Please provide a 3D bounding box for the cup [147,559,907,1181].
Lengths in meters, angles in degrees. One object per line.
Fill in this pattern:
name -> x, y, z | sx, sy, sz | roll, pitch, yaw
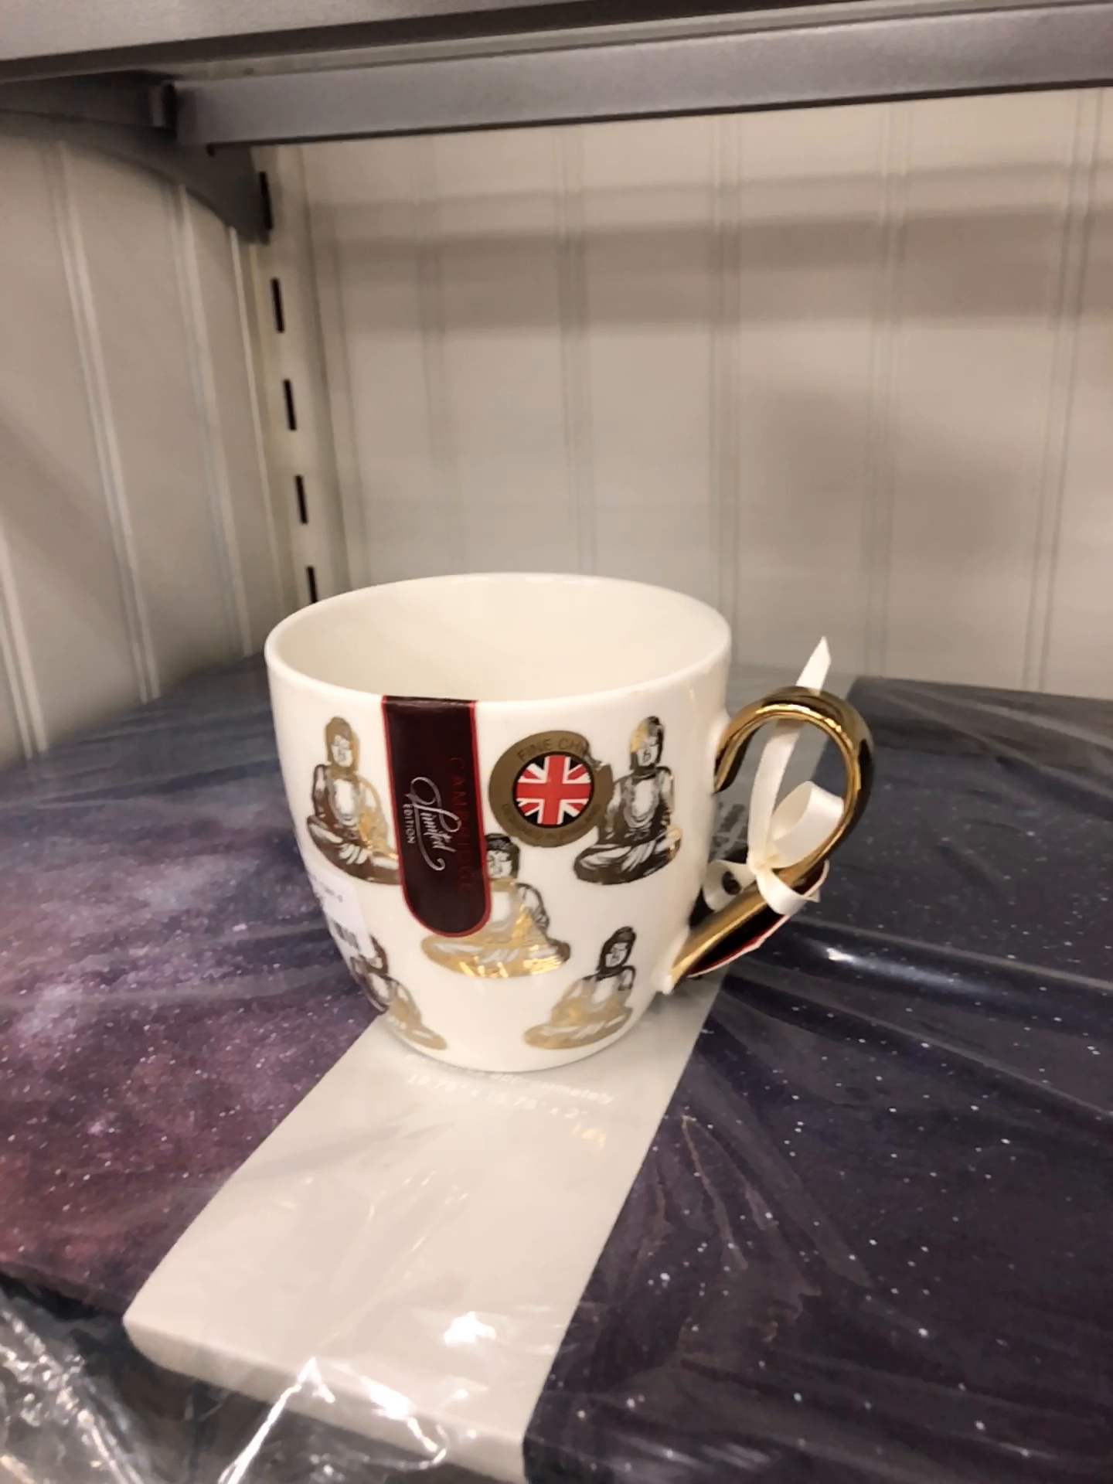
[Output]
cup -> 0.004, 0.017, 0.276 | 0.137, 0.089, 0.101 | 3, 23, 15
